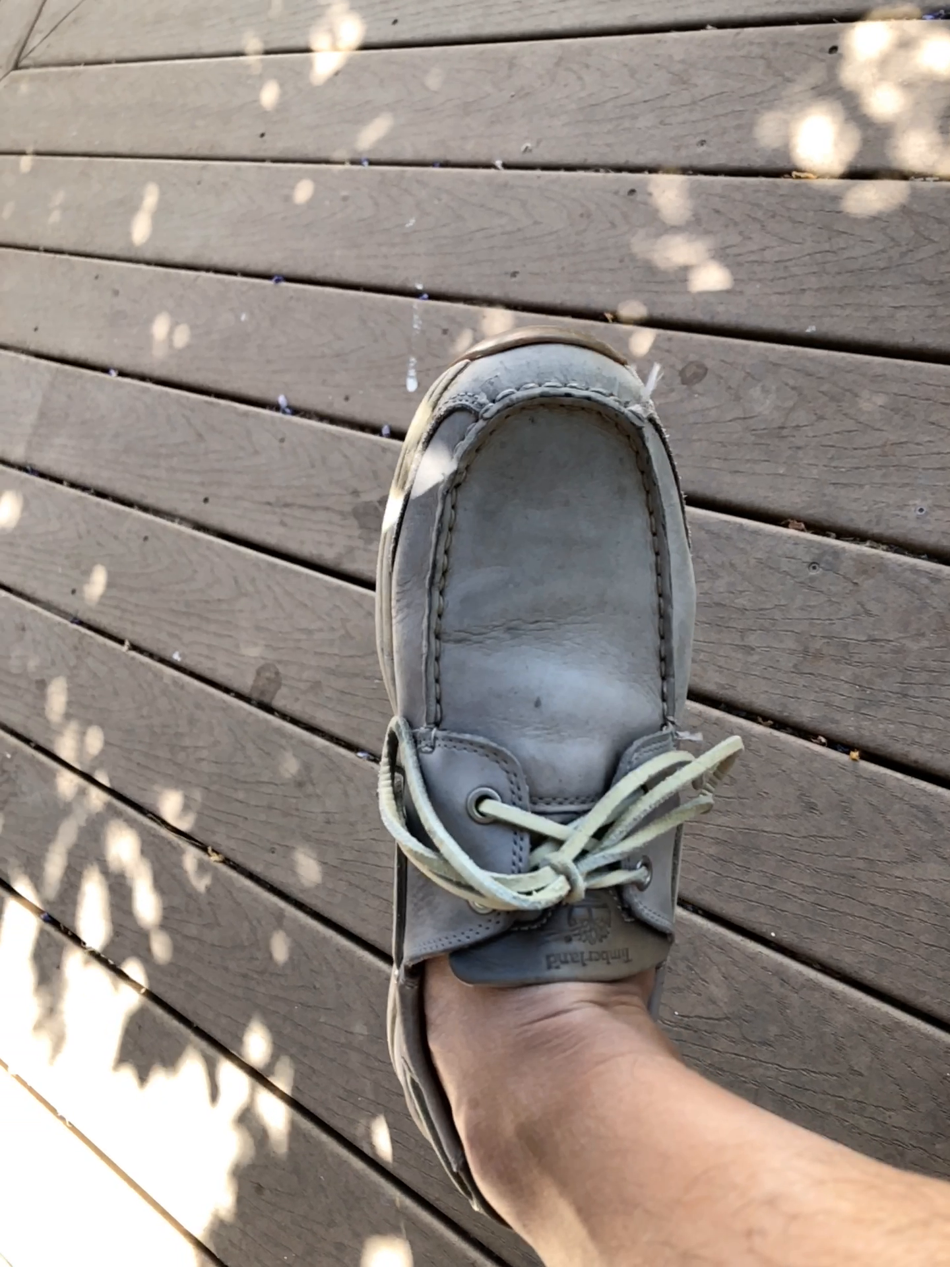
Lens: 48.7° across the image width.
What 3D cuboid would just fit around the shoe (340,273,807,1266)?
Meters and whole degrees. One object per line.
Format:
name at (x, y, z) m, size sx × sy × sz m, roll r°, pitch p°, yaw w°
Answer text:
shoe at (0.023, 0.058, 0.356) m, size 0.083 × 0.116 × 0.326 m, roll -150°, pitch 61°, yaw -68°
